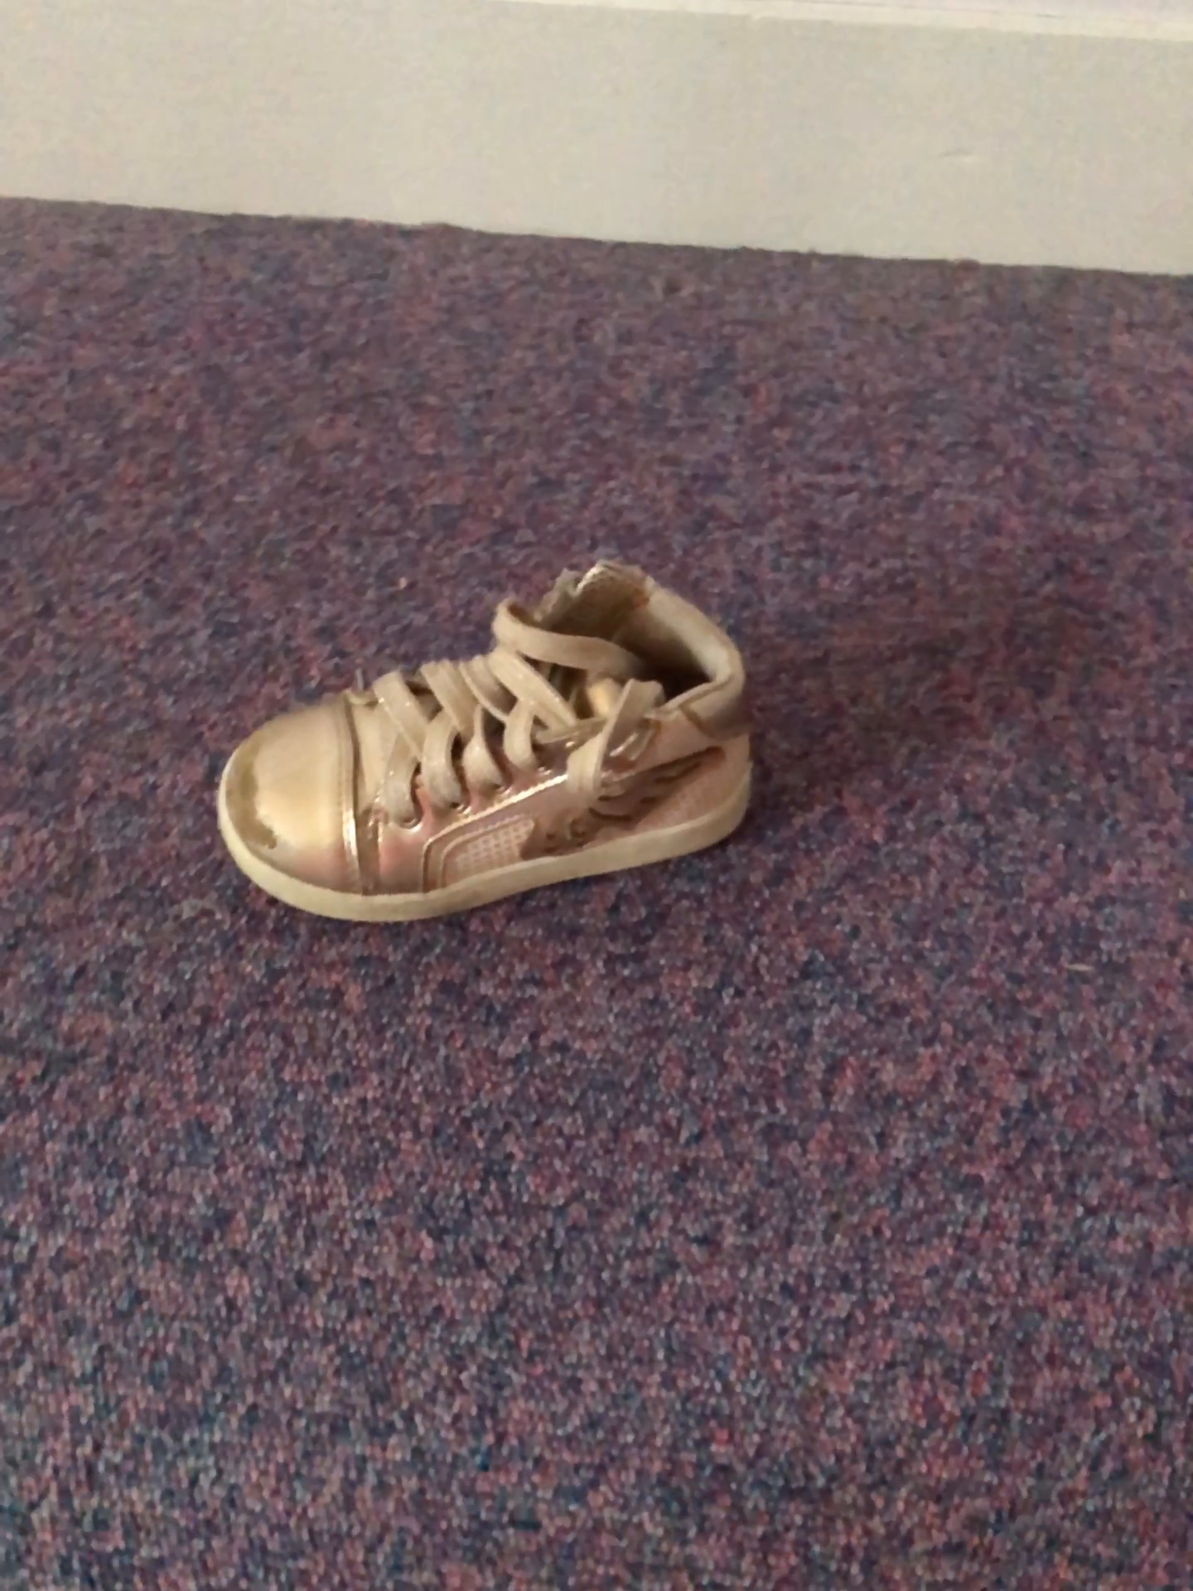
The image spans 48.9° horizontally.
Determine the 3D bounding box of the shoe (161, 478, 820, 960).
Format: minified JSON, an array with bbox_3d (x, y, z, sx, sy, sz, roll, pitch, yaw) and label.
[{"bbox_3d":[-0.029,-0.019,0.352,0.150,0.080,0.080,-7,59,-5],"label":"shoe"}]
